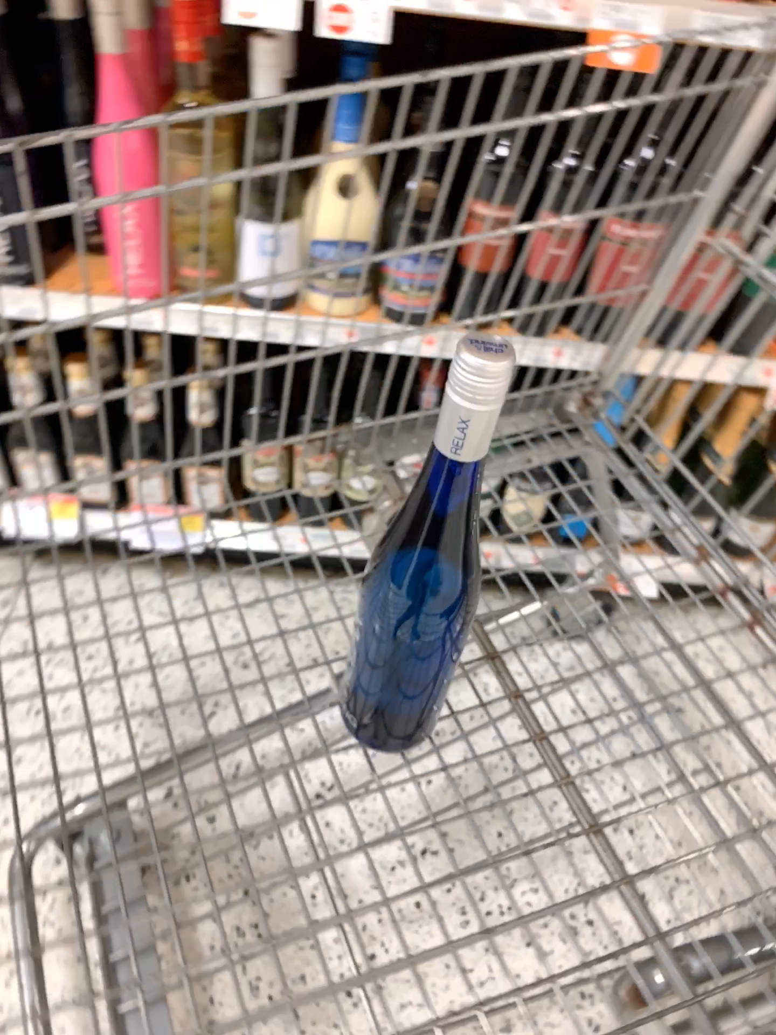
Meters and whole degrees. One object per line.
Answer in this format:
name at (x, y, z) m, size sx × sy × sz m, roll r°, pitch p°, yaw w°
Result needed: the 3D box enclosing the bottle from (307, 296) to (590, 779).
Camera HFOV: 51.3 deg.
bottle at (0.015, 0.032, 0.484) m, size 0.090 × 0.307 × 0.091 m, roll 5°, pitch 46°, yaw -5°
